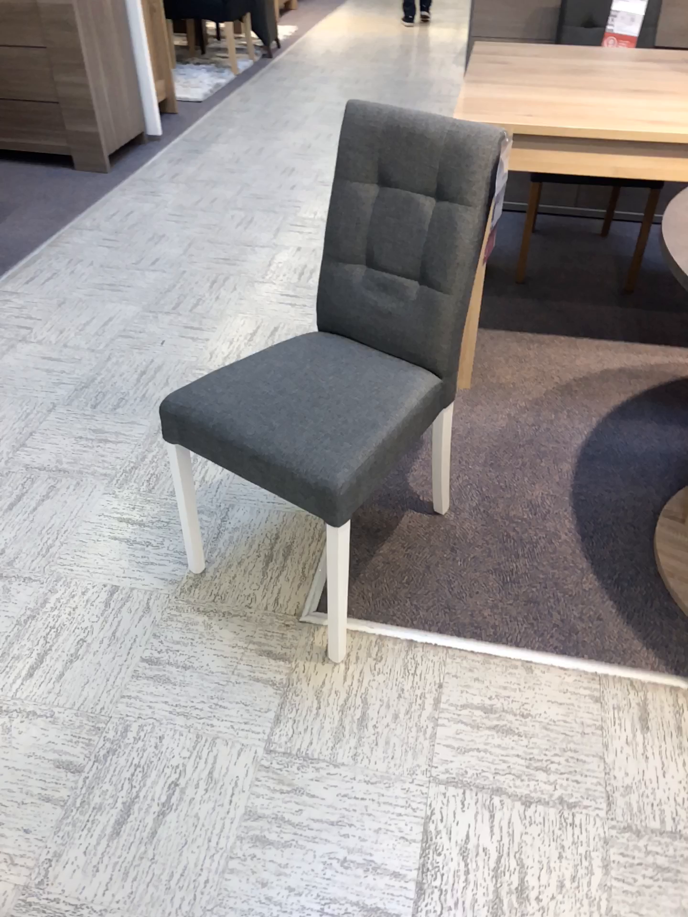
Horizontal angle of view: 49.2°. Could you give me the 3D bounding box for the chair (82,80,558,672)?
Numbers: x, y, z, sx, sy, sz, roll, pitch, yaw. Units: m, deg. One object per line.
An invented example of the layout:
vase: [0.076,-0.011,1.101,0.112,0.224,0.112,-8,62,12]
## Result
chair: [-0.014,-0.166,1.401,0.460,0.825,0.584,26,46,29]
